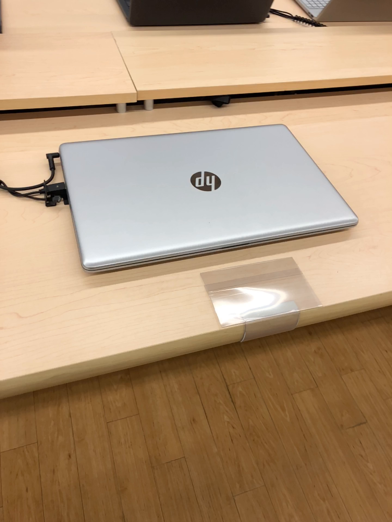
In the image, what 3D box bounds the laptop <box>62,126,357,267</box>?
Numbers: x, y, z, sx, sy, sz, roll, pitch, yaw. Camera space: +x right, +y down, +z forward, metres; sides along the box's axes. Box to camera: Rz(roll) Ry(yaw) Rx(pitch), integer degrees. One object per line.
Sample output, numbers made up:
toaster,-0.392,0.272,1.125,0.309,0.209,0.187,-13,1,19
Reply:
laptop,0.014,-0.122,0.668,0.397,0.001,0.258,-10,52,-16
